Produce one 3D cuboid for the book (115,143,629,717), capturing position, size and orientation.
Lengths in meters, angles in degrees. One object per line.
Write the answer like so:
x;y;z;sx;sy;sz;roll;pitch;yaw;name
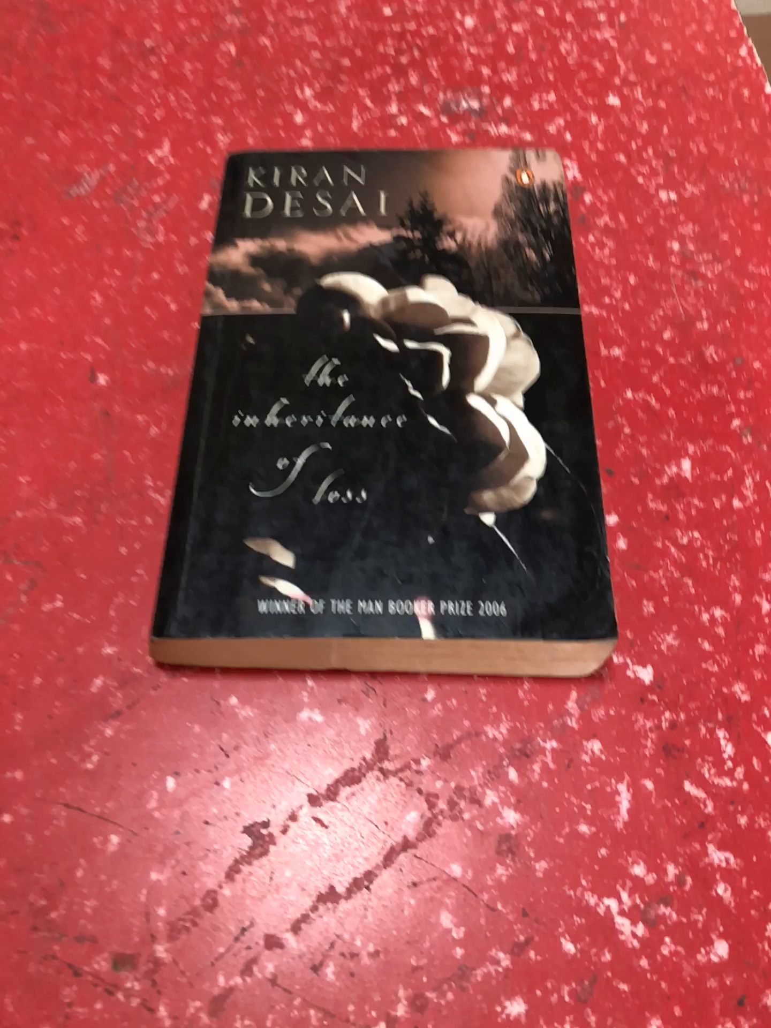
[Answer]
-0.001;-0.035;0.289;0.130;0.060;0.190;1;61;2;book
